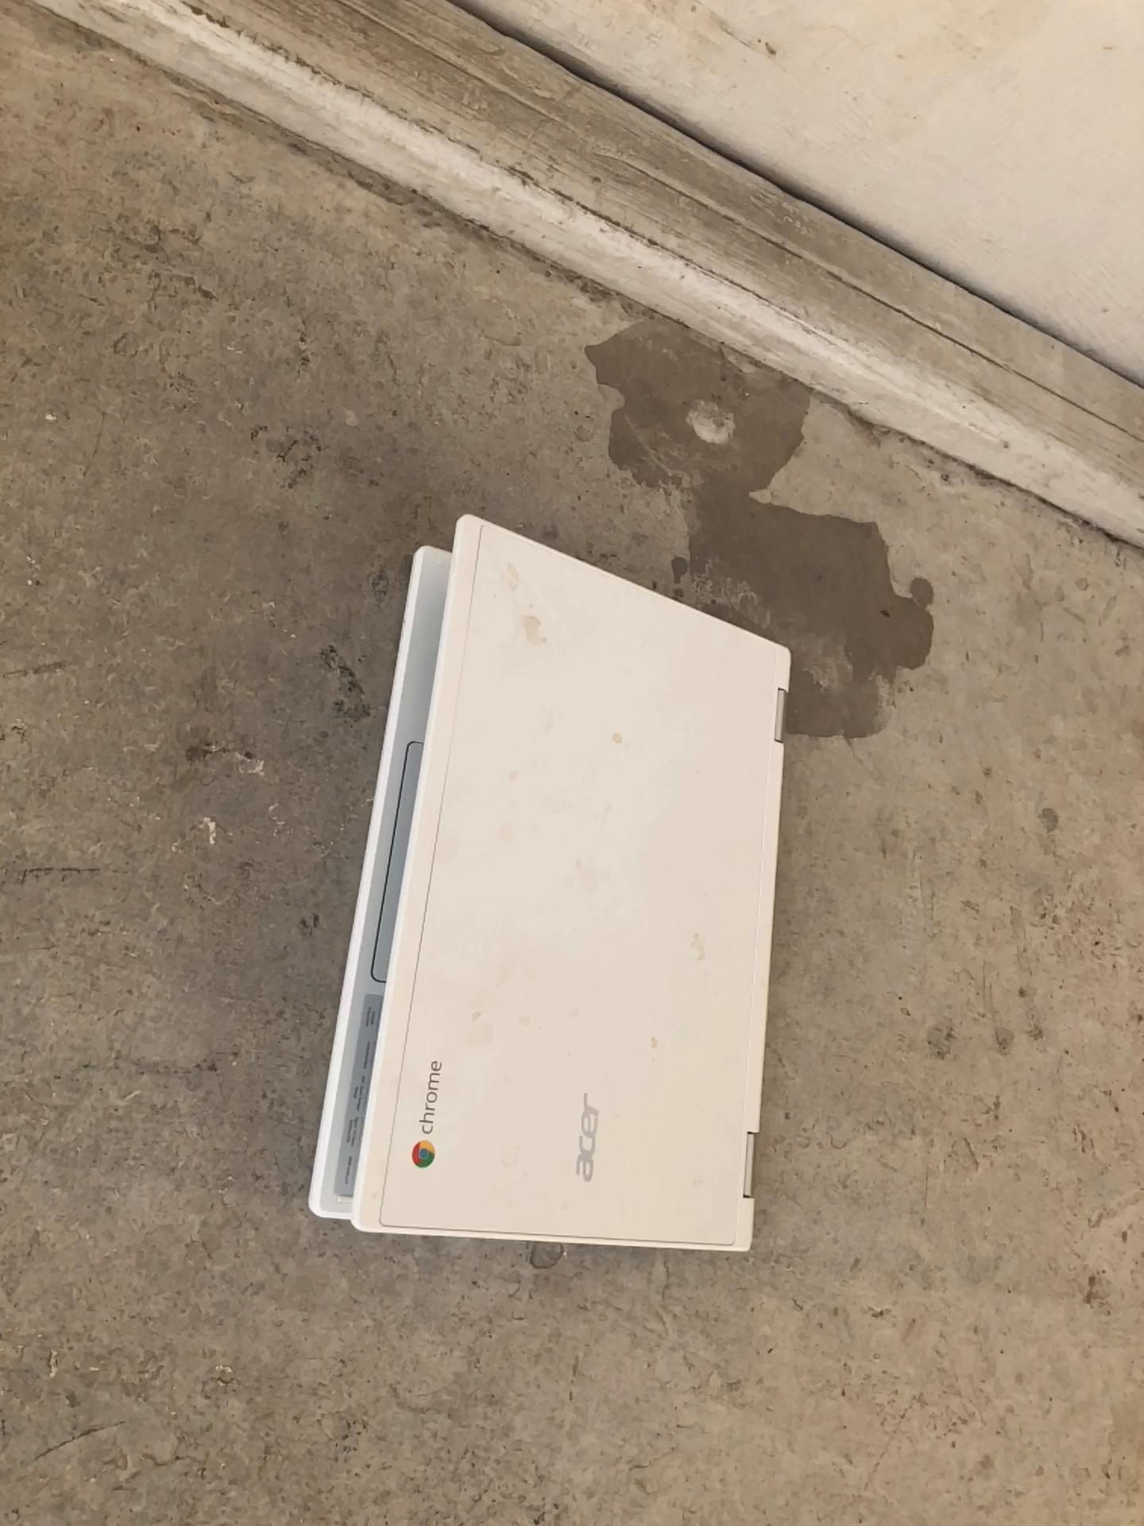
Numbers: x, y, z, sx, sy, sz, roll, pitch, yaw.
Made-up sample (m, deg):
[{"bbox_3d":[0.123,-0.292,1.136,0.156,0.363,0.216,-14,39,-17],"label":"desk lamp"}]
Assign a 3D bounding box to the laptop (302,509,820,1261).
[{"bbox_3d":[0.008,0.055,0.537,0.190,0.046,0.278,15,72,-25],"label":"laptop"}]
